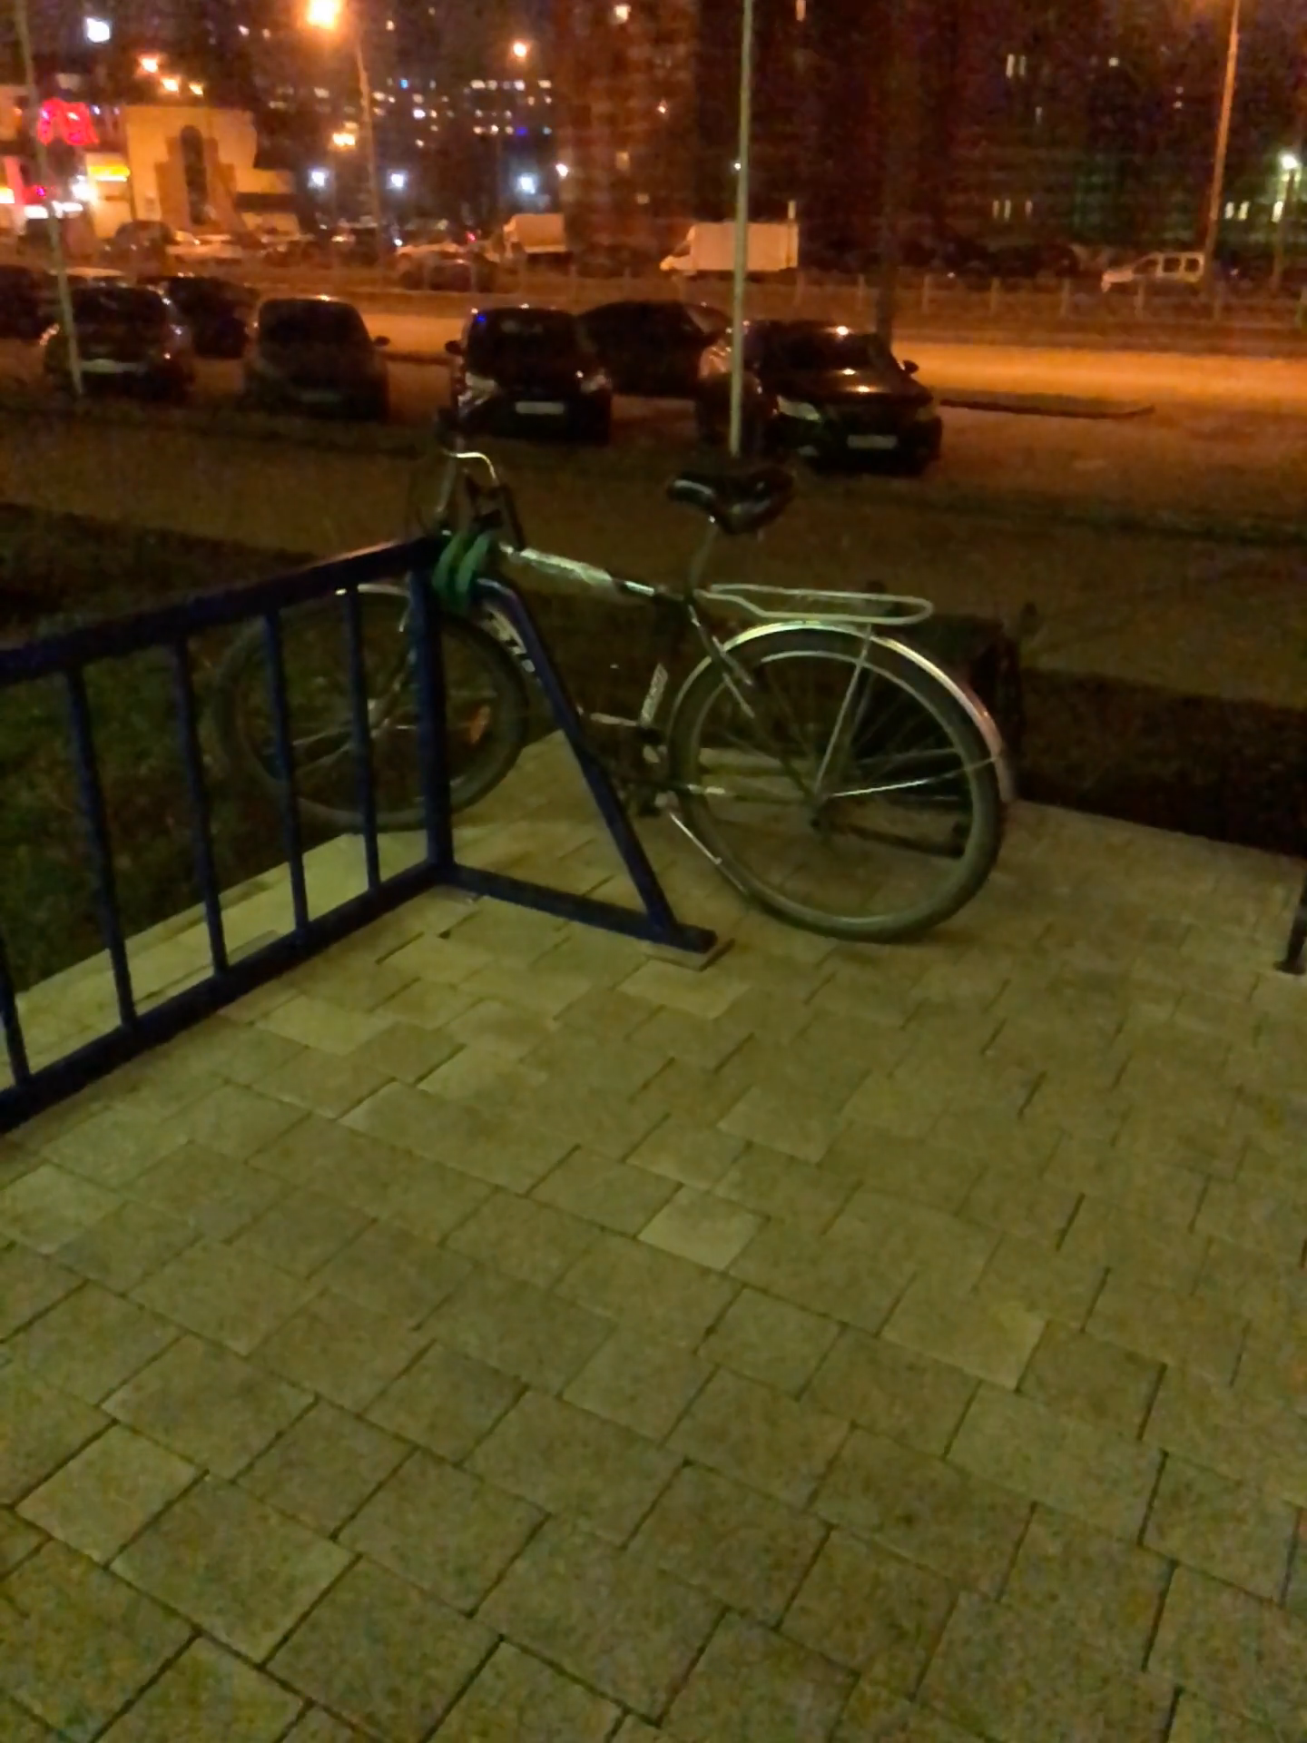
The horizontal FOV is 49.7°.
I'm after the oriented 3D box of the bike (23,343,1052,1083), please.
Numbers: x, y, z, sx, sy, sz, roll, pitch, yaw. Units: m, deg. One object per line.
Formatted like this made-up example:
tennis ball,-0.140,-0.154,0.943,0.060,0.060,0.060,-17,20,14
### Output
bike,-0.203,-0.399,2.856,1.718,1.046,0.682,12,27,17
